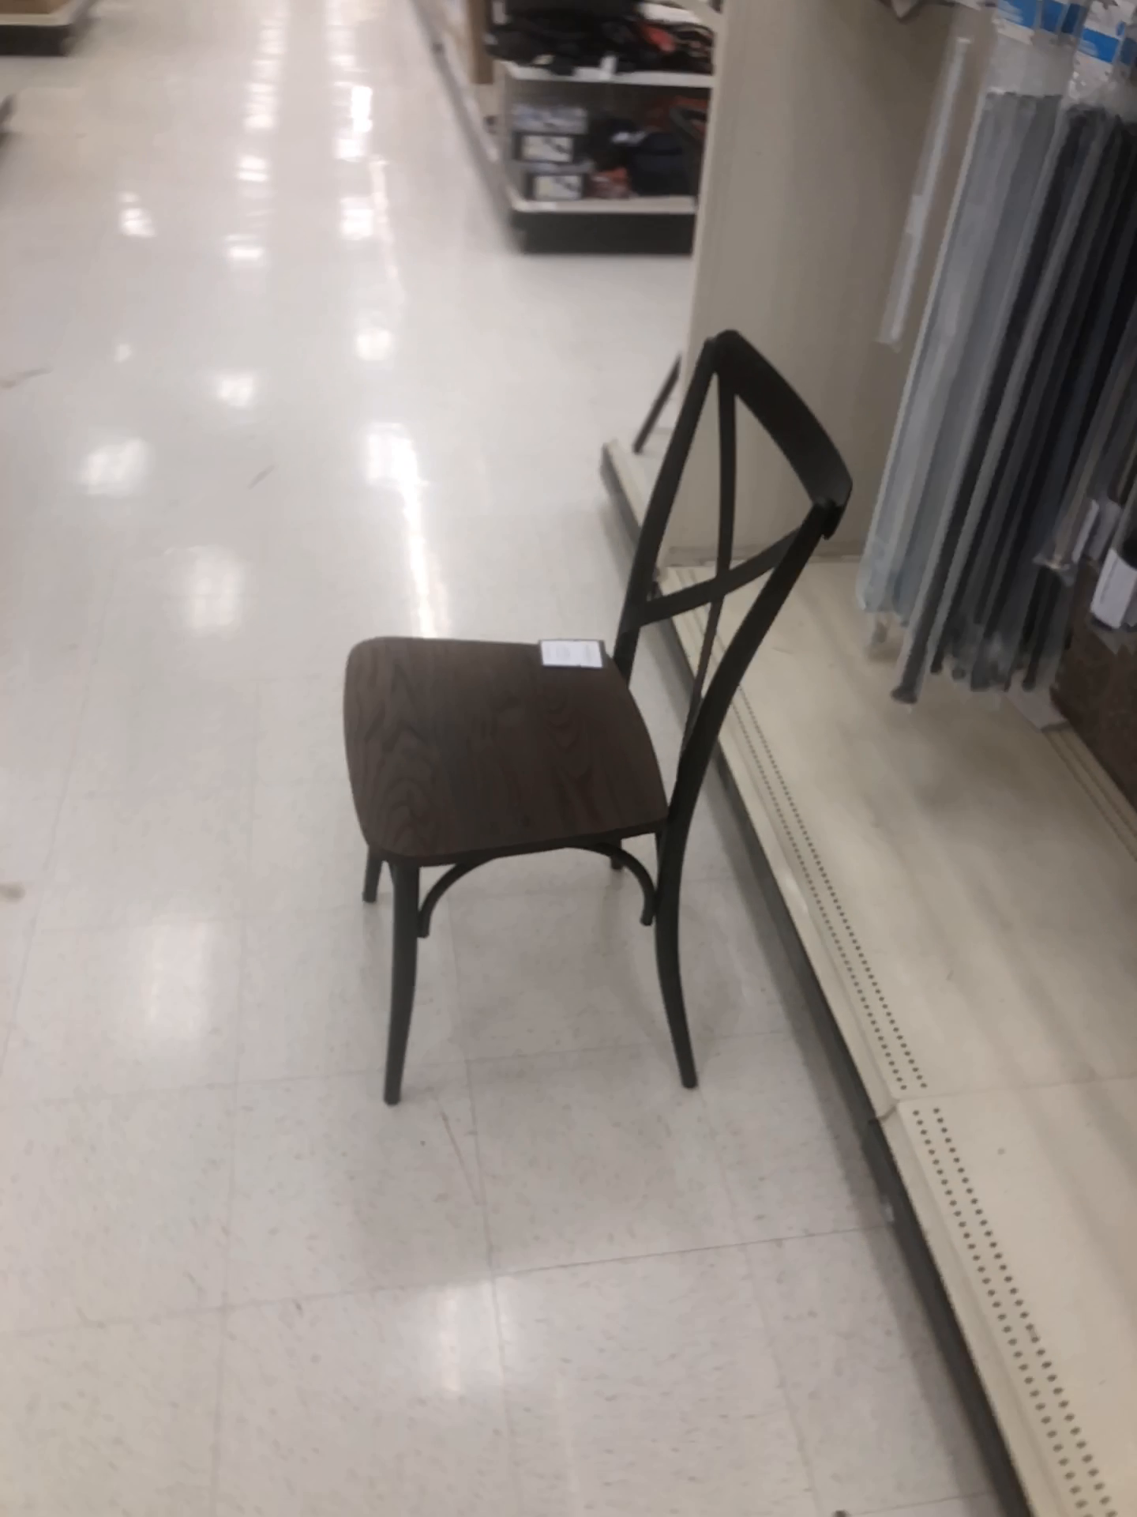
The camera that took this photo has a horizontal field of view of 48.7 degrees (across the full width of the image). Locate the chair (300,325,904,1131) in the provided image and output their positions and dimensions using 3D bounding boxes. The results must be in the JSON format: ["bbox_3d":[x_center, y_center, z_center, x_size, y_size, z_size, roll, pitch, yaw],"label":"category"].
[{"bbox_3d":[-0.023,-0.029,1.505,0.526,0.811,0.477,-3,39,-10],"label":"chair"}]
